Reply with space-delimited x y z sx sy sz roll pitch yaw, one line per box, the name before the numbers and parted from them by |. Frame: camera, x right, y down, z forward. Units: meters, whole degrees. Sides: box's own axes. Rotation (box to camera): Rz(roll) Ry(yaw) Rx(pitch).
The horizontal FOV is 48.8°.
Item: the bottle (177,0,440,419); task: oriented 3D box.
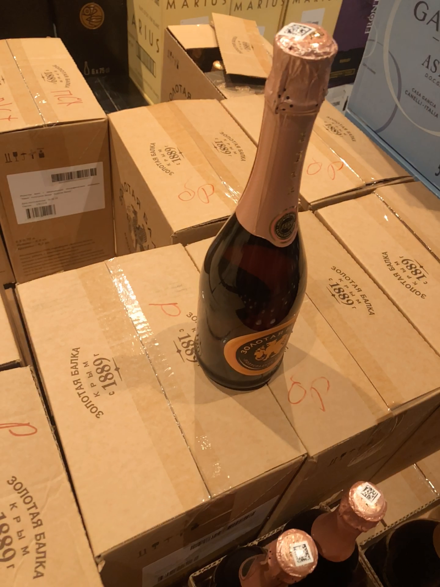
bottle | 0.038 -0.033 0.368 0.100 0.308 0.090 -20 55 -23
